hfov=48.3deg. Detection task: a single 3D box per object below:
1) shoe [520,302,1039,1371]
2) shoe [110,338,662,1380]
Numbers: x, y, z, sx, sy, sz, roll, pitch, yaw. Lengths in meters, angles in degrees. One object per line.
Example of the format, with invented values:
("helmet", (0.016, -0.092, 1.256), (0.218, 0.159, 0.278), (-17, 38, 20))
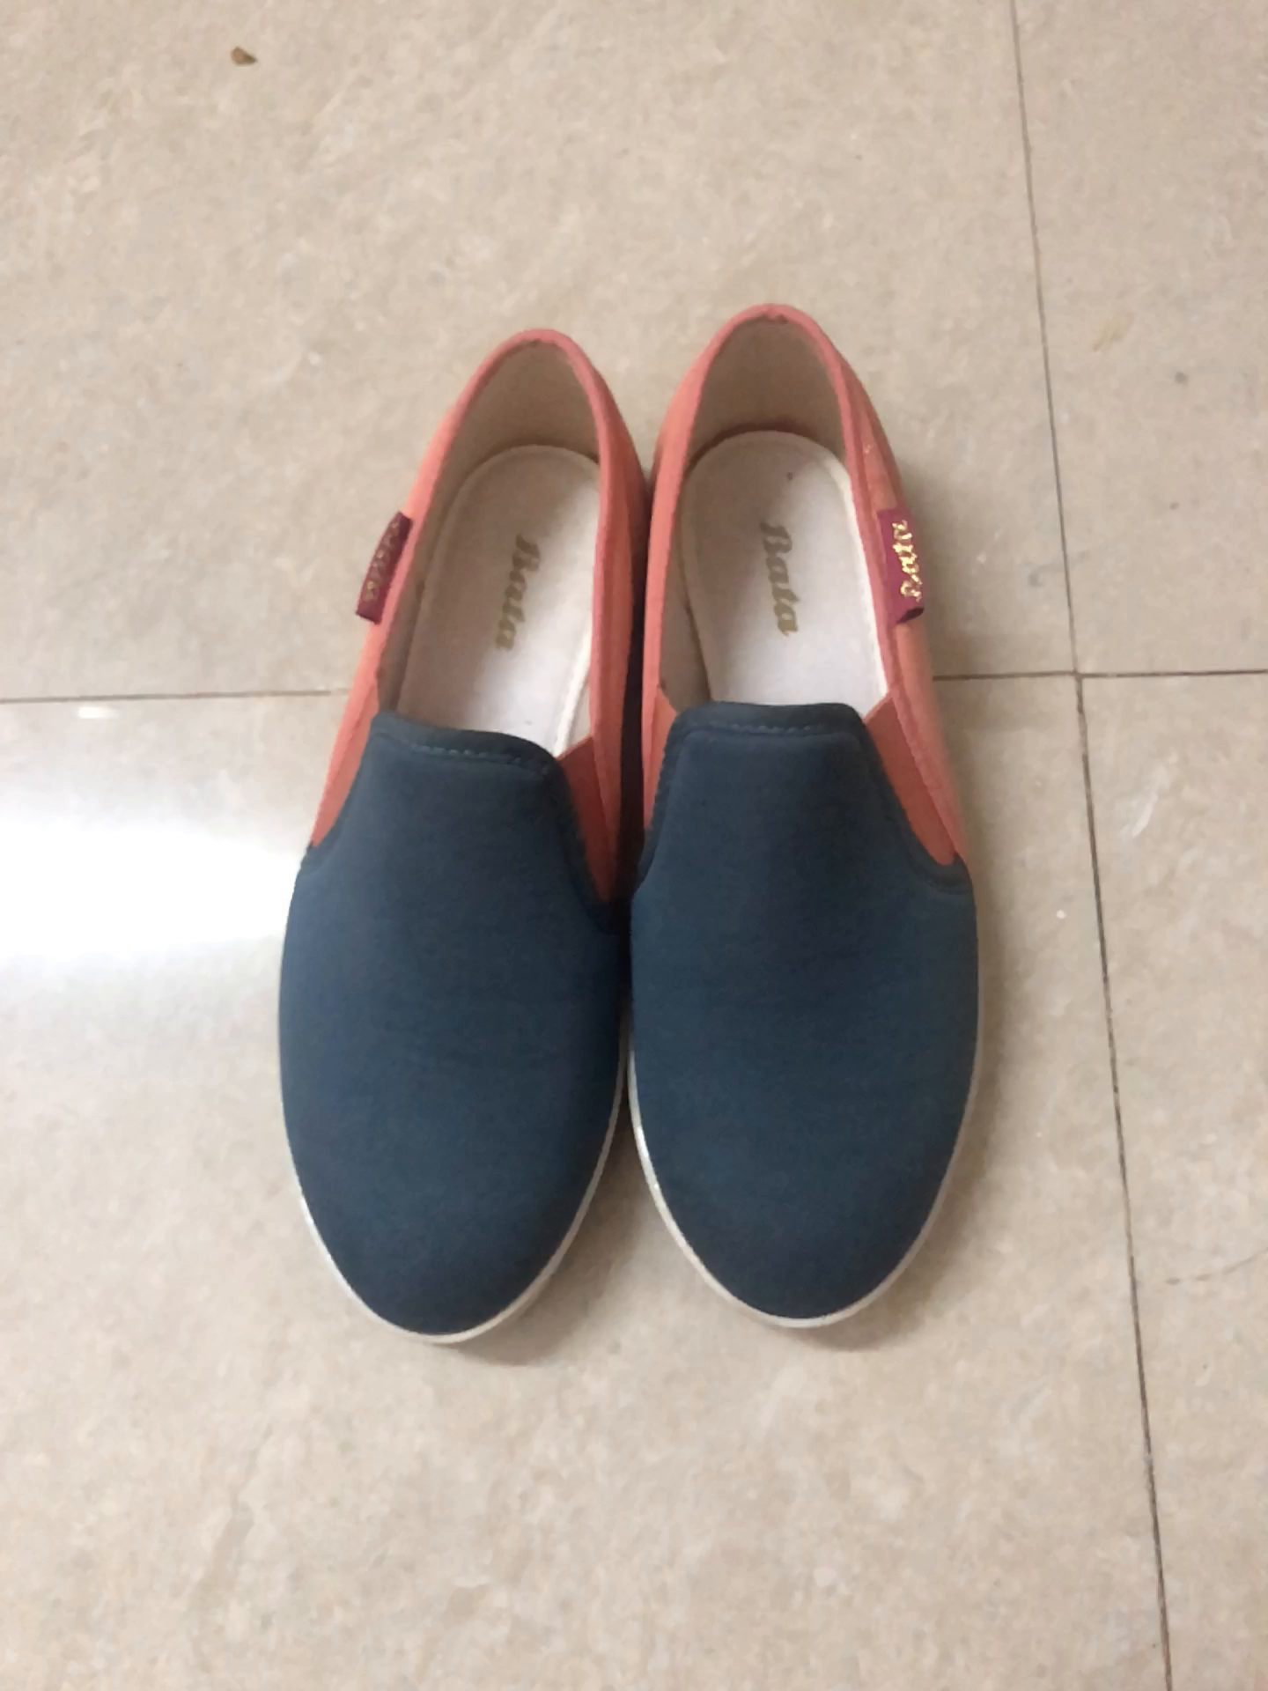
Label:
("shoe", (0.026, -0.004, 0.316), (0.090, 0.060, 0.220), (-3, 75, 2))
("shoe", (-0.046, -0.001, 0.325), (0.090, 0.060, 0.220), (3, 75, 4))
